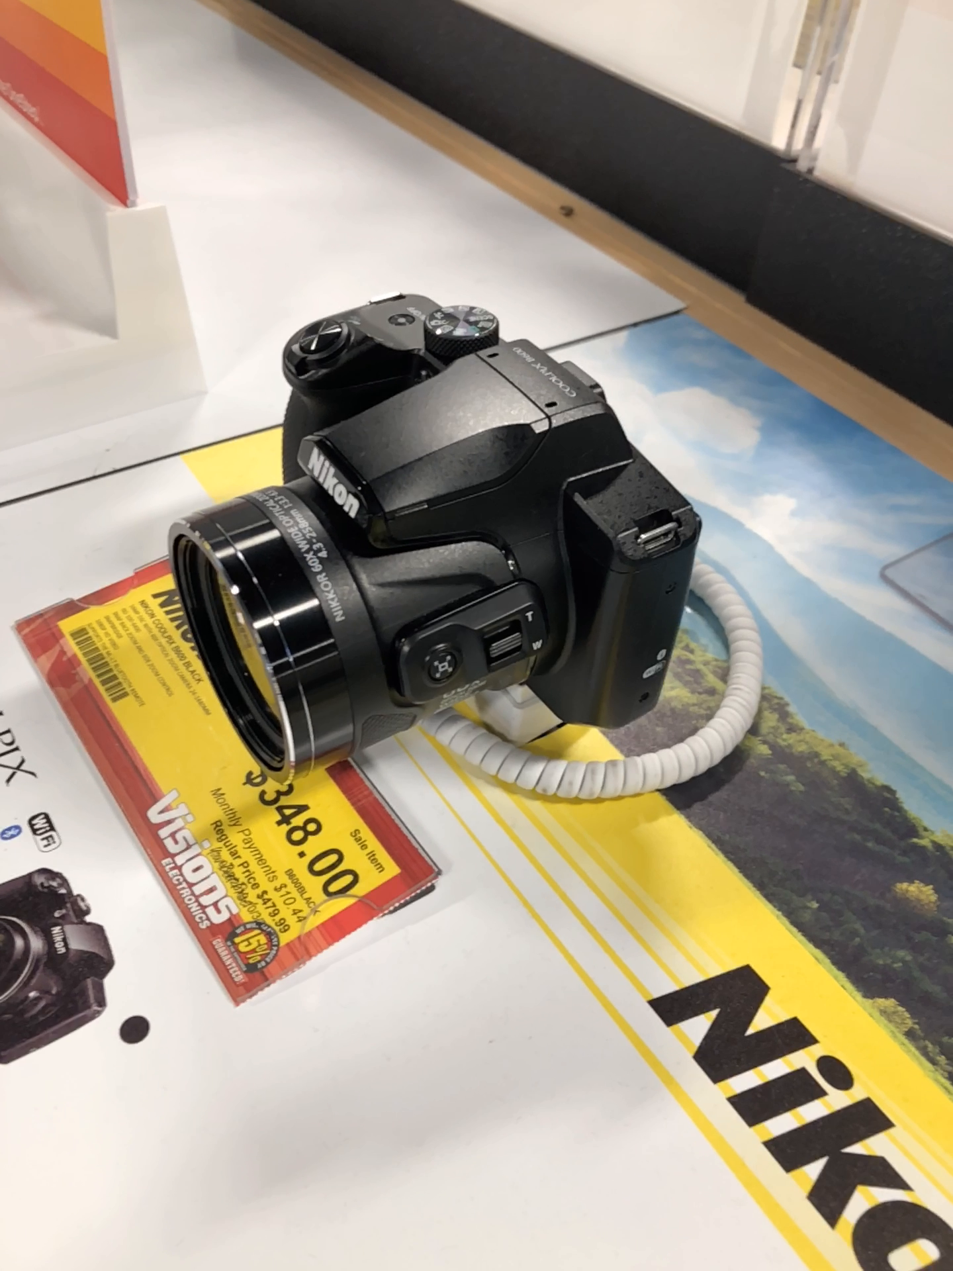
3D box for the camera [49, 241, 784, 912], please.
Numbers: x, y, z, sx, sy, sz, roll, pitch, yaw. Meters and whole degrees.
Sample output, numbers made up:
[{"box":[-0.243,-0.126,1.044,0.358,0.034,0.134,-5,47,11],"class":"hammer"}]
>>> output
[{"box":[-0.020,-0.026,0.255,0.110,0.070,0.131,-22,49,-25],"class":"camera"}]
